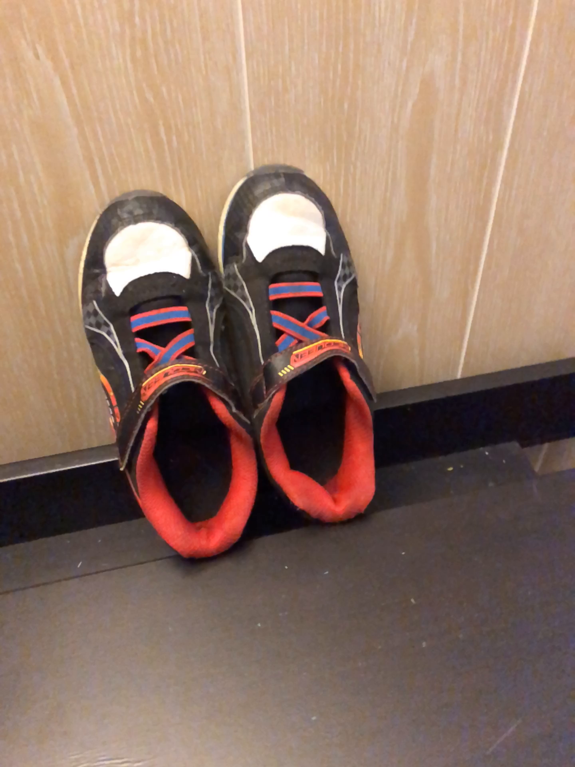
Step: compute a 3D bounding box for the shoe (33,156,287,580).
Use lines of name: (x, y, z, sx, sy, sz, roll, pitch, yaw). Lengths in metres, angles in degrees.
shoe: (-0.068, -0.009, 0.352, 0.090, 0.200, 0.070, -11, 0, -8)

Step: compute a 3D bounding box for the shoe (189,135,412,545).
shoe: (0.005, -0.025, 0.376, 0.090, 0.210, 0.070, -10, 4, -7)
